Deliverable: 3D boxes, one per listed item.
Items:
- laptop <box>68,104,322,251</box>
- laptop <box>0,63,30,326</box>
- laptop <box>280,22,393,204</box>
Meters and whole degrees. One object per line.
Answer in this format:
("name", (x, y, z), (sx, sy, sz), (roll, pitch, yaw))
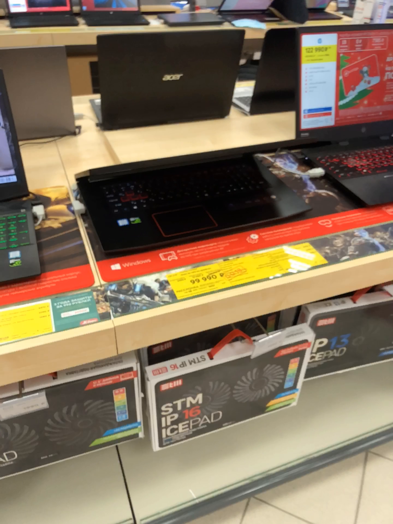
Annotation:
("laptop", (-0.012, -0.190, 0.867), (0.419, 0.124, 0.262), (-13, 40, -18))
("laptop", (-0.477, -0.144, 0.690), (0.351, 0.230, 0.343), (-10, 39, -18))
("laptop", (0.474, -0.364, 1.001), (0.377, 0.250, 0.357), (-12, 41, -17))
